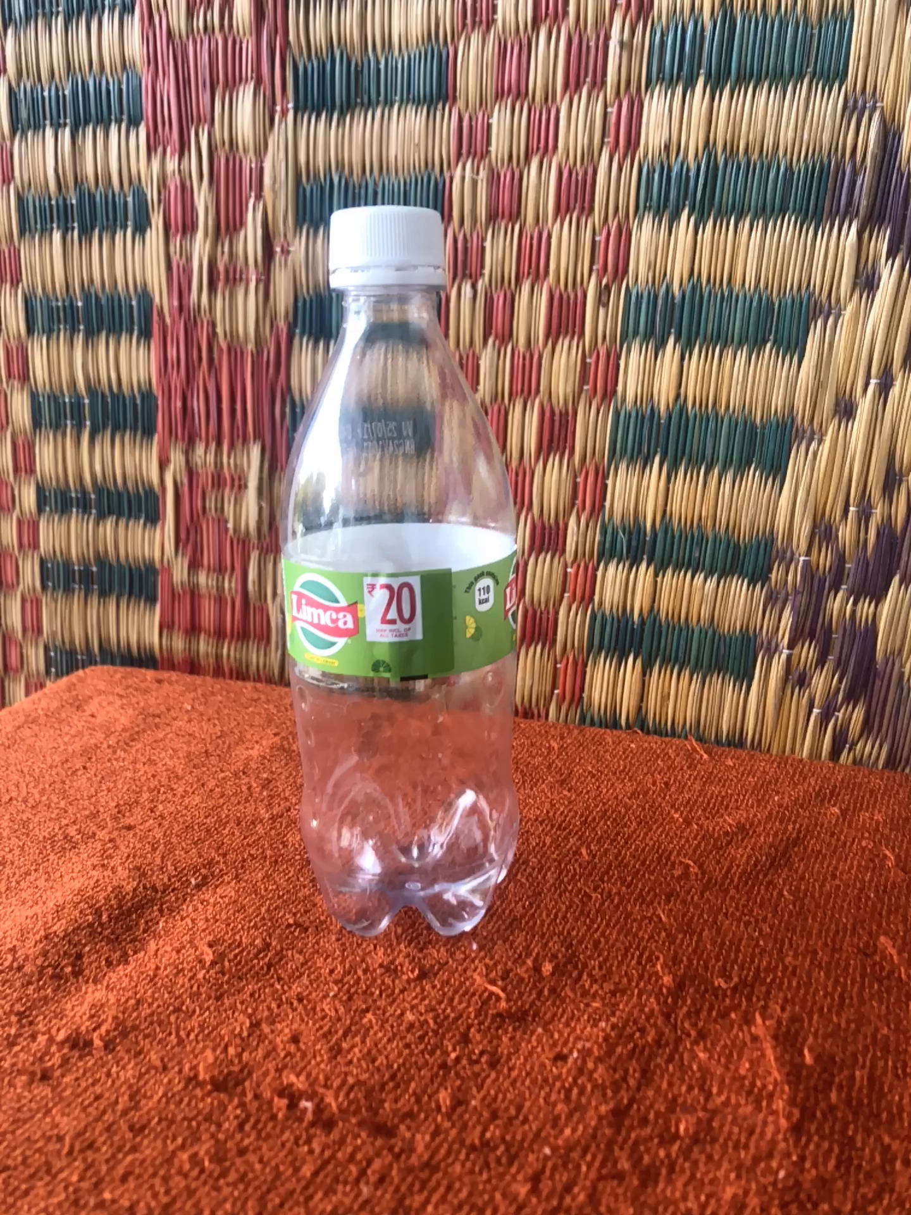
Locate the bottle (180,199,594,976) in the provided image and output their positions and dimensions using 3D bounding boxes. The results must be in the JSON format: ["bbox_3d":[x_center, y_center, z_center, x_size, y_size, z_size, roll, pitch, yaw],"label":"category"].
[{"bbox_3d":[-0.011,-0.008,0.225,0.060,0.149,0.060,0,18,0],"label":"bottle"}]
